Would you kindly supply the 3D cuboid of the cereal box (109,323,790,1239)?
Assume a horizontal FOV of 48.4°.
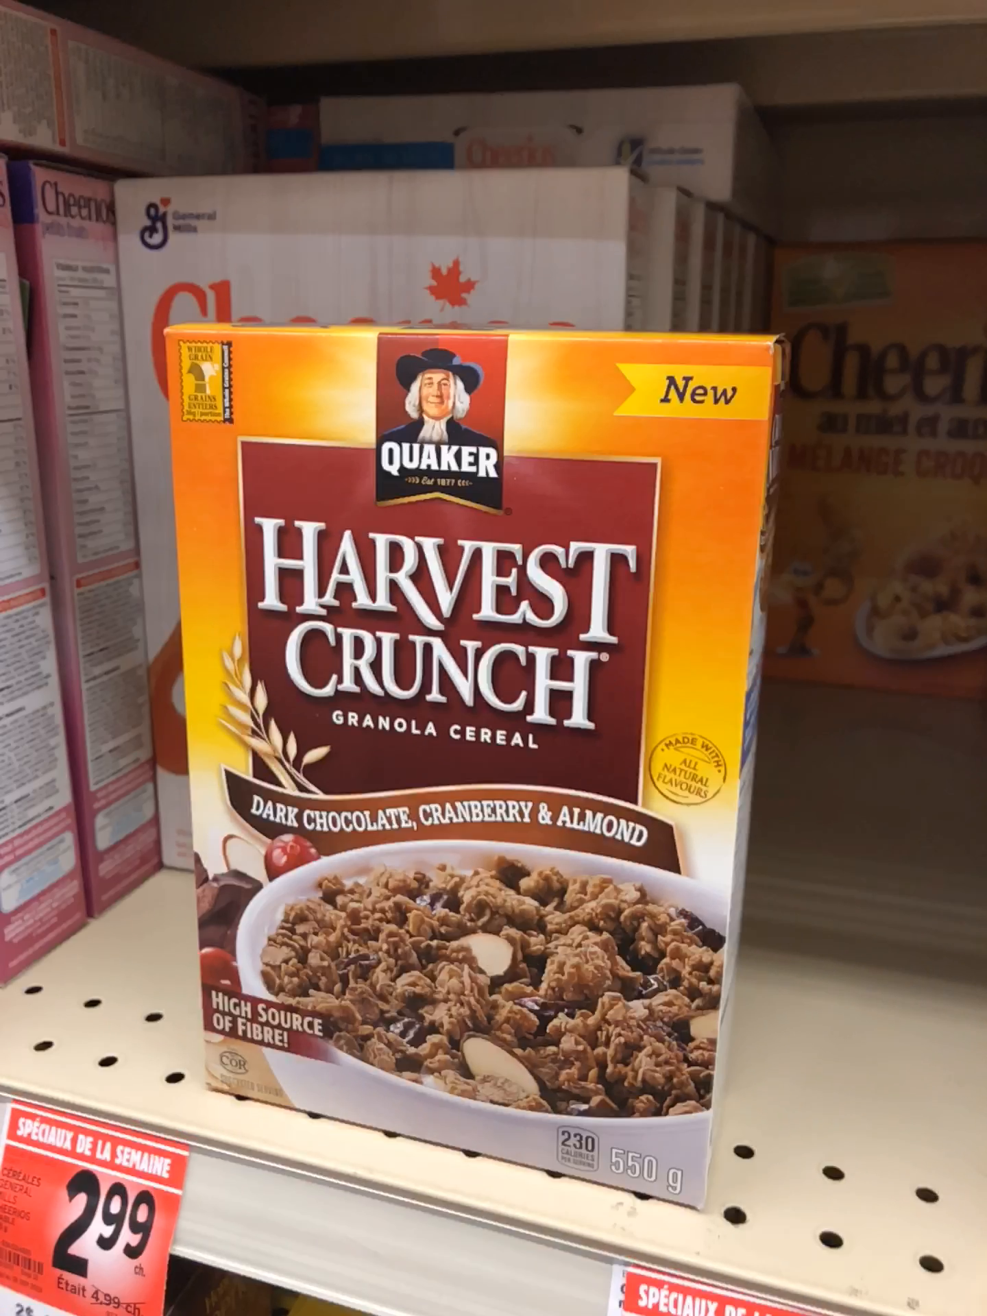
[{"bbox_3d":[-0.012,0.028,0.322,0.170,0.239,0.060,6,16,17],"label":"cereal box"}]
